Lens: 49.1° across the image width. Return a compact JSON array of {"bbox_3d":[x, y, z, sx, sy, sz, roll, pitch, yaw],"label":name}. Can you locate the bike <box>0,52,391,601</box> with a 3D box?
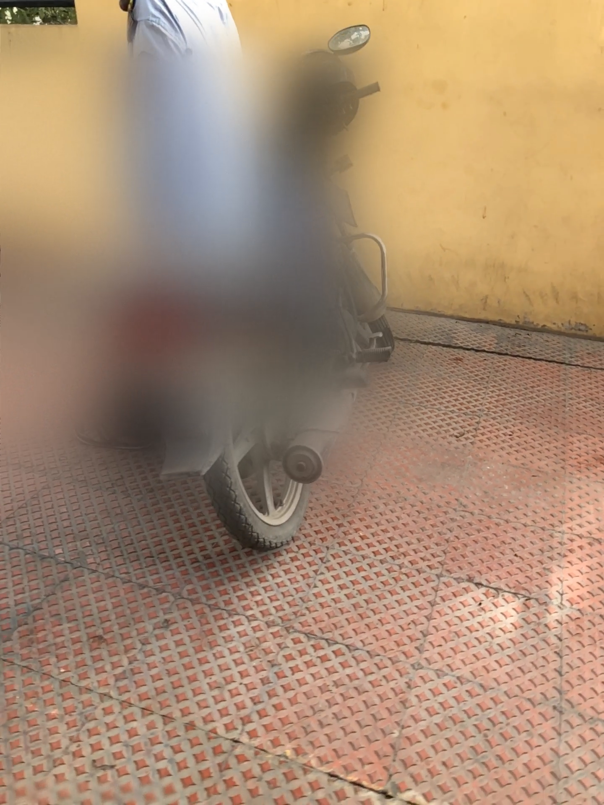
[{"bbox_3d":[-0.226,-0.462,2.075,0.920,1.007,1.685,5,31,6],"label":"bike"}]
